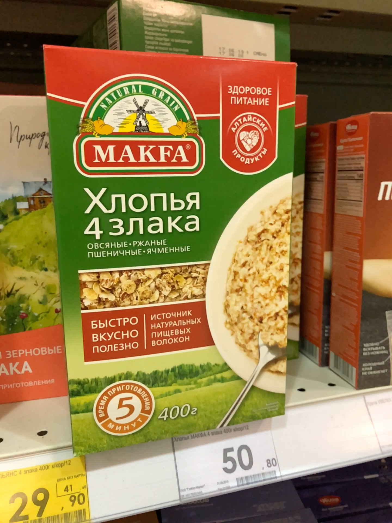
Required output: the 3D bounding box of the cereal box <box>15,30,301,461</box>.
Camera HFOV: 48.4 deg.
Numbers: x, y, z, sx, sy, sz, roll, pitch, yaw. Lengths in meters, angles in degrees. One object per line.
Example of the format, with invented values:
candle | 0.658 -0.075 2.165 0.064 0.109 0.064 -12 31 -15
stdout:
cereal box | -0.018 -0.007 0.253 0.140 0.209 0.050 -4 12 -17
